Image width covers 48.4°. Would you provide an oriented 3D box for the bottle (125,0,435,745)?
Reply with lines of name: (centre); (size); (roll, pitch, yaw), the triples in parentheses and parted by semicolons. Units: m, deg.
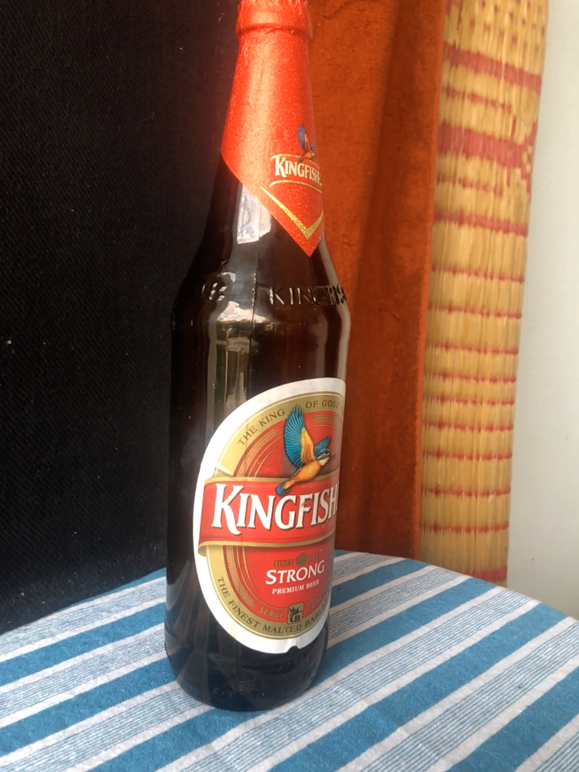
bottle: (-0.011, -0.015, 0.270); (0.080, 0.289, 0.070); (-4, 14, -38)
